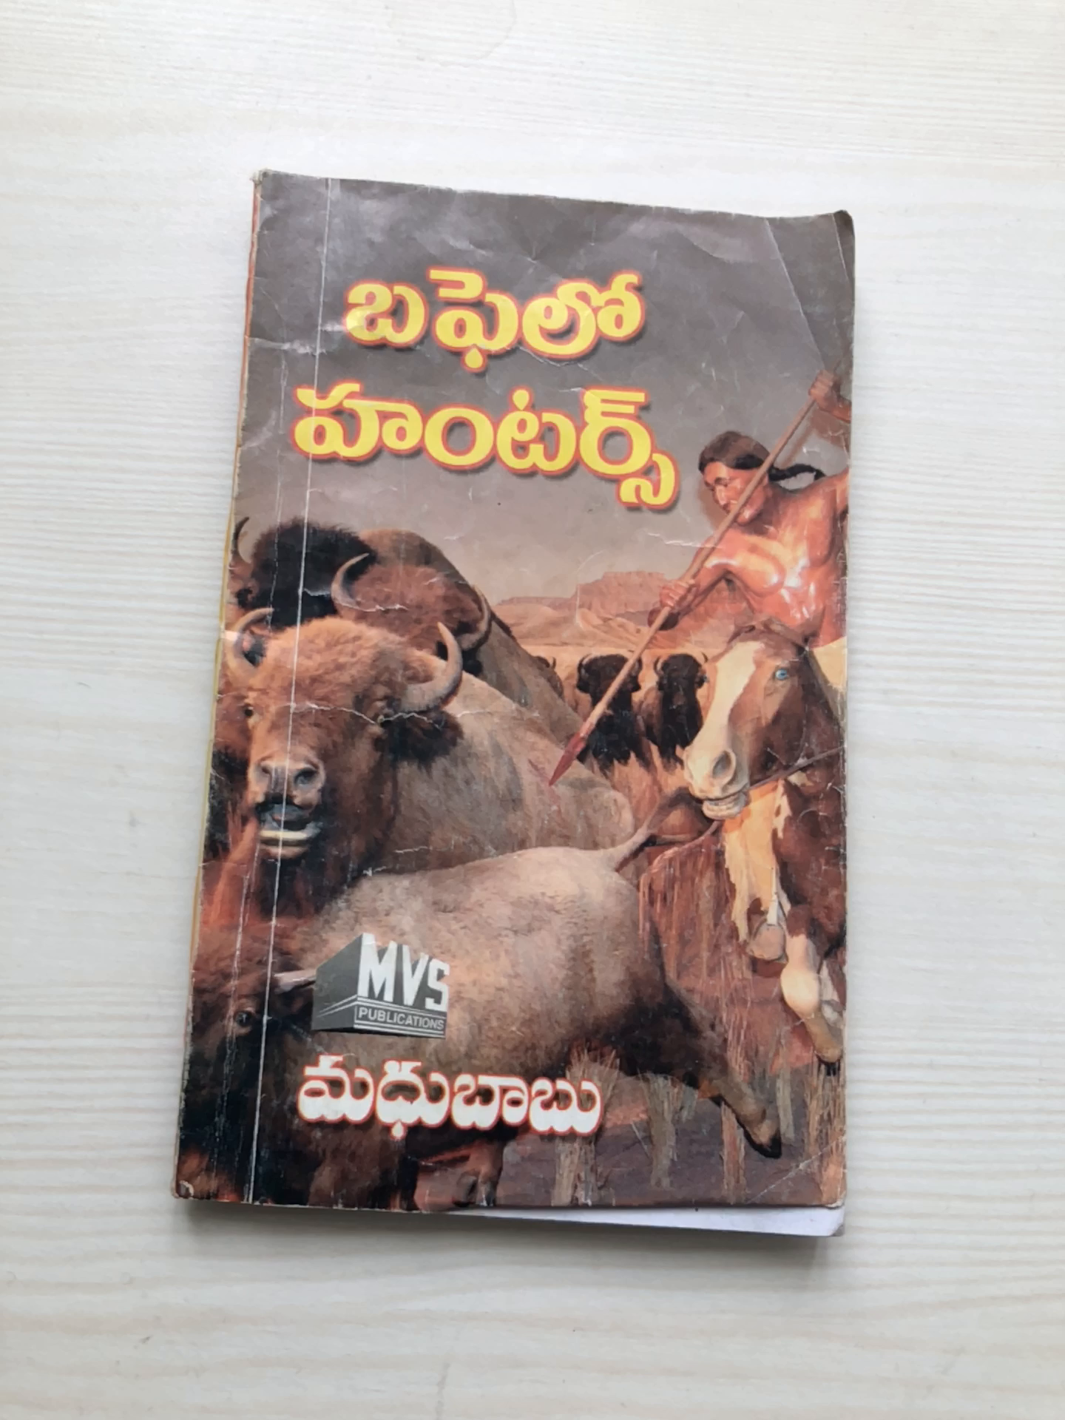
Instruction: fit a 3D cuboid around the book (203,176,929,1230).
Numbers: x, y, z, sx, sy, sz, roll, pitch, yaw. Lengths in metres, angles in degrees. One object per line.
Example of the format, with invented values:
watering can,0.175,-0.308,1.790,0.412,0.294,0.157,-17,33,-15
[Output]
book,0.006,-0.001,0.185,0.100,0.020,0.150,3,87,-3
